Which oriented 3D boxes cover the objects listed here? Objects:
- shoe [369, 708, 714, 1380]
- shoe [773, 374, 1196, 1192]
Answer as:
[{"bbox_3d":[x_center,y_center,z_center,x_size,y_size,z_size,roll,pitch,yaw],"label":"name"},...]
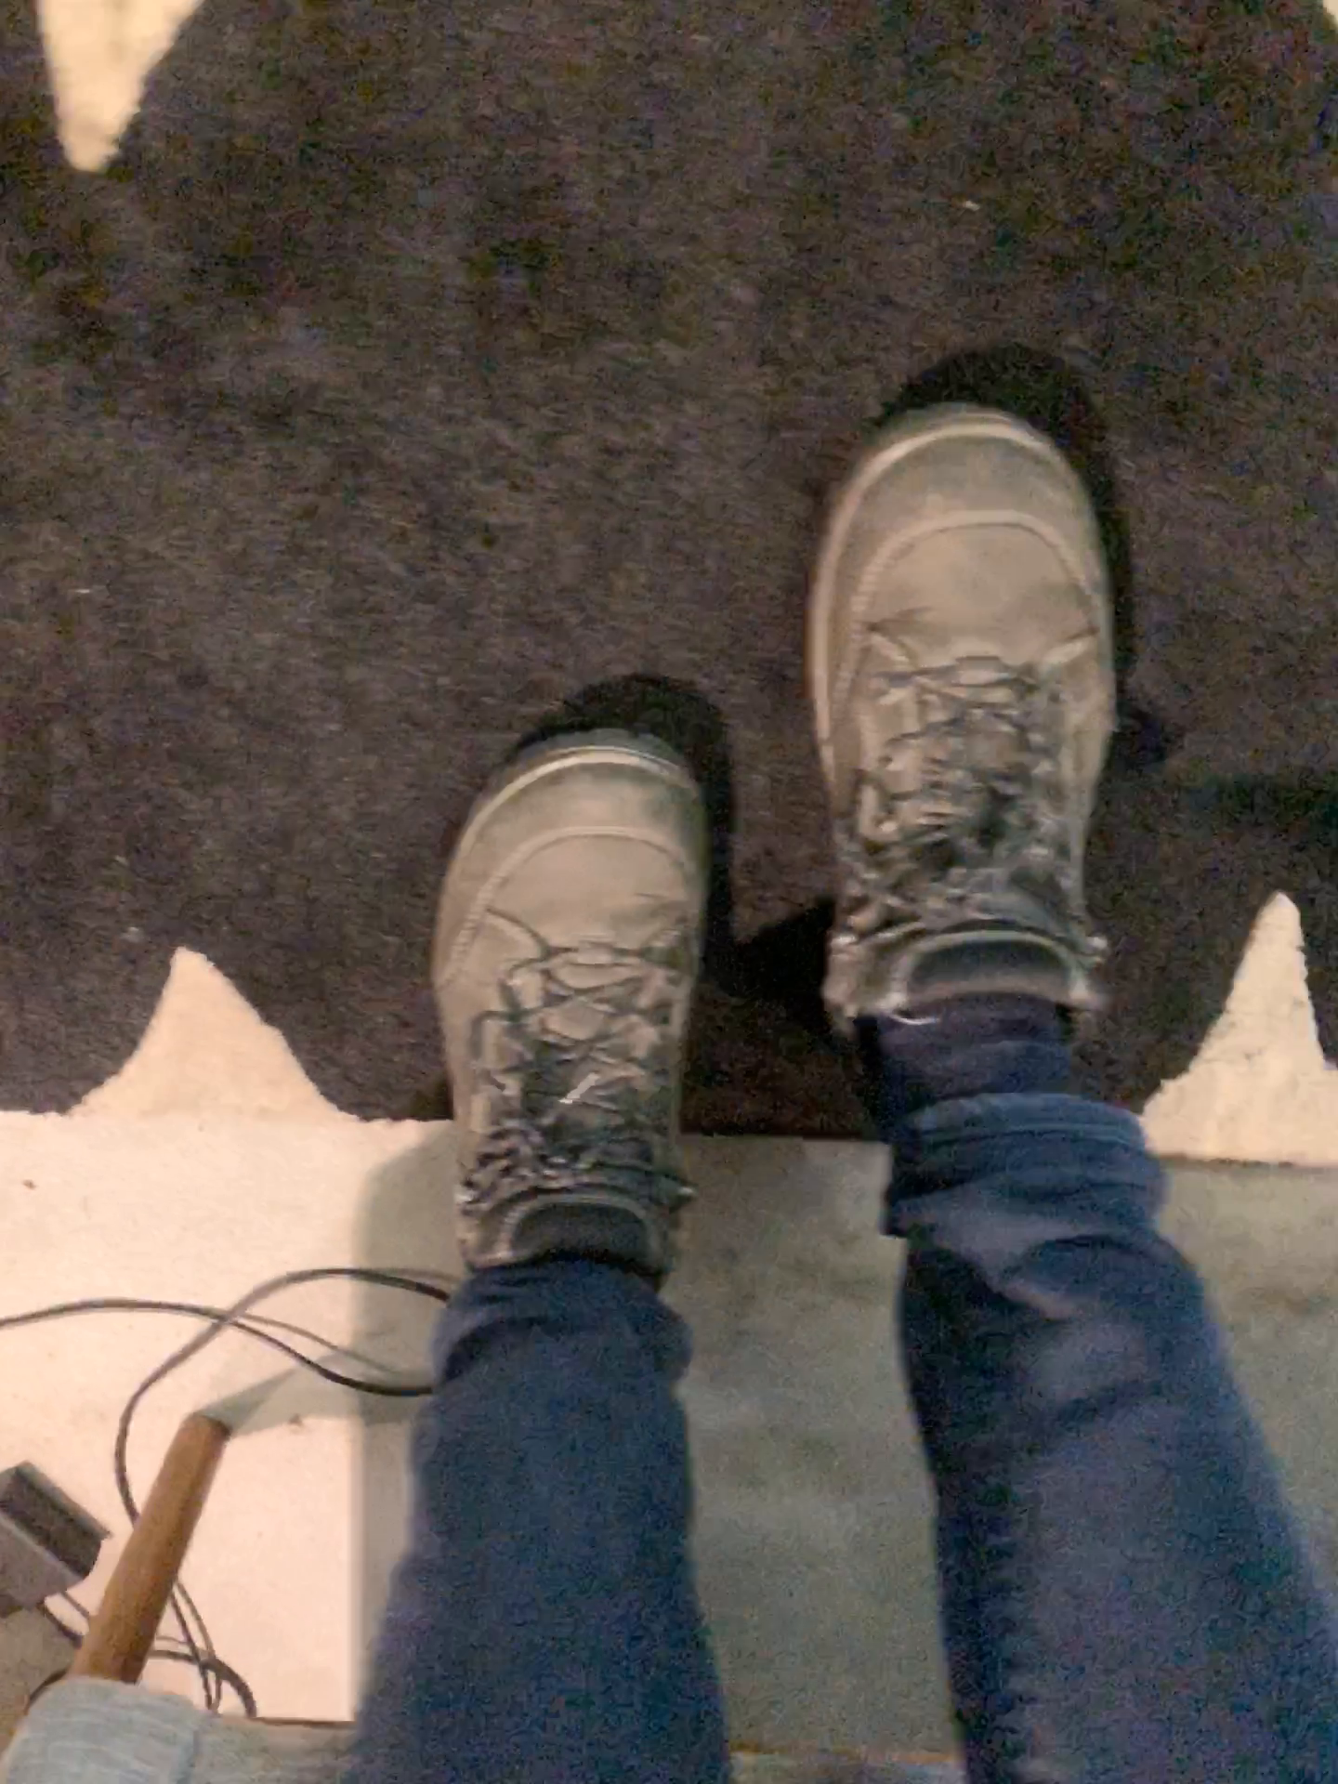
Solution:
[{"bbox_3d":[-0.044,0.072,0.572,0.119,0.077,0.285,1,119,1],"label":"shoe"},{"bbox_3d":[0.110,-0.029,0.508,0.121,0.077,0.288,-5,118,3],"label":"shoe"}]
